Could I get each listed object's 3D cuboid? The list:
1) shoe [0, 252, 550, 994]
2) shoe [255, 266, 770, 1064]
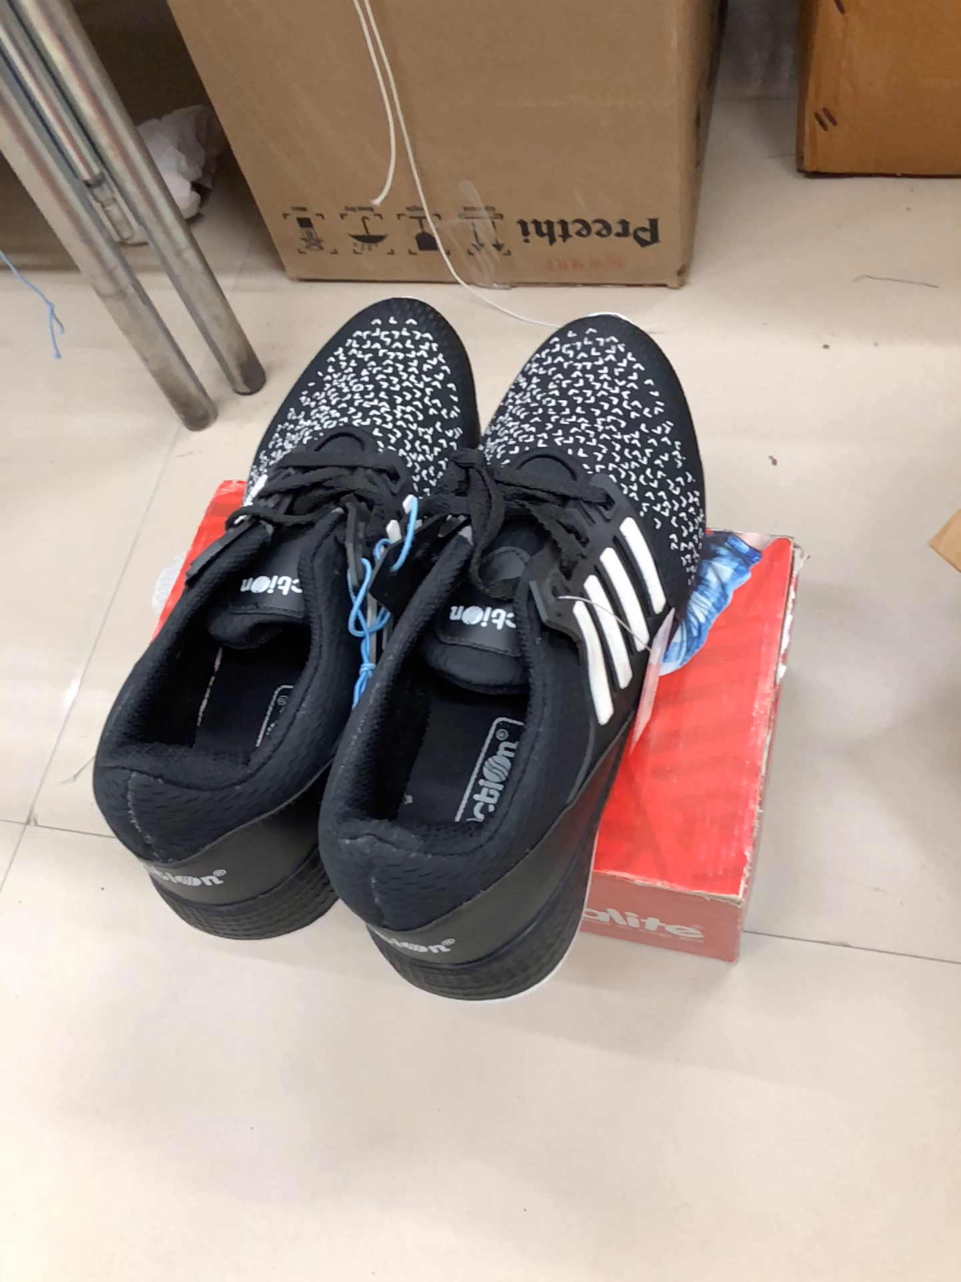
[{"bbox_3d":[-0.066,-0.017,0.425,0.111,0.103,0.267,10,65,17],"label":"shoe"},{"bbox_3d":[0.030,-0.001,0.396,0.101,0.103,0.267,11,65,18],"label":"shoe"}]
